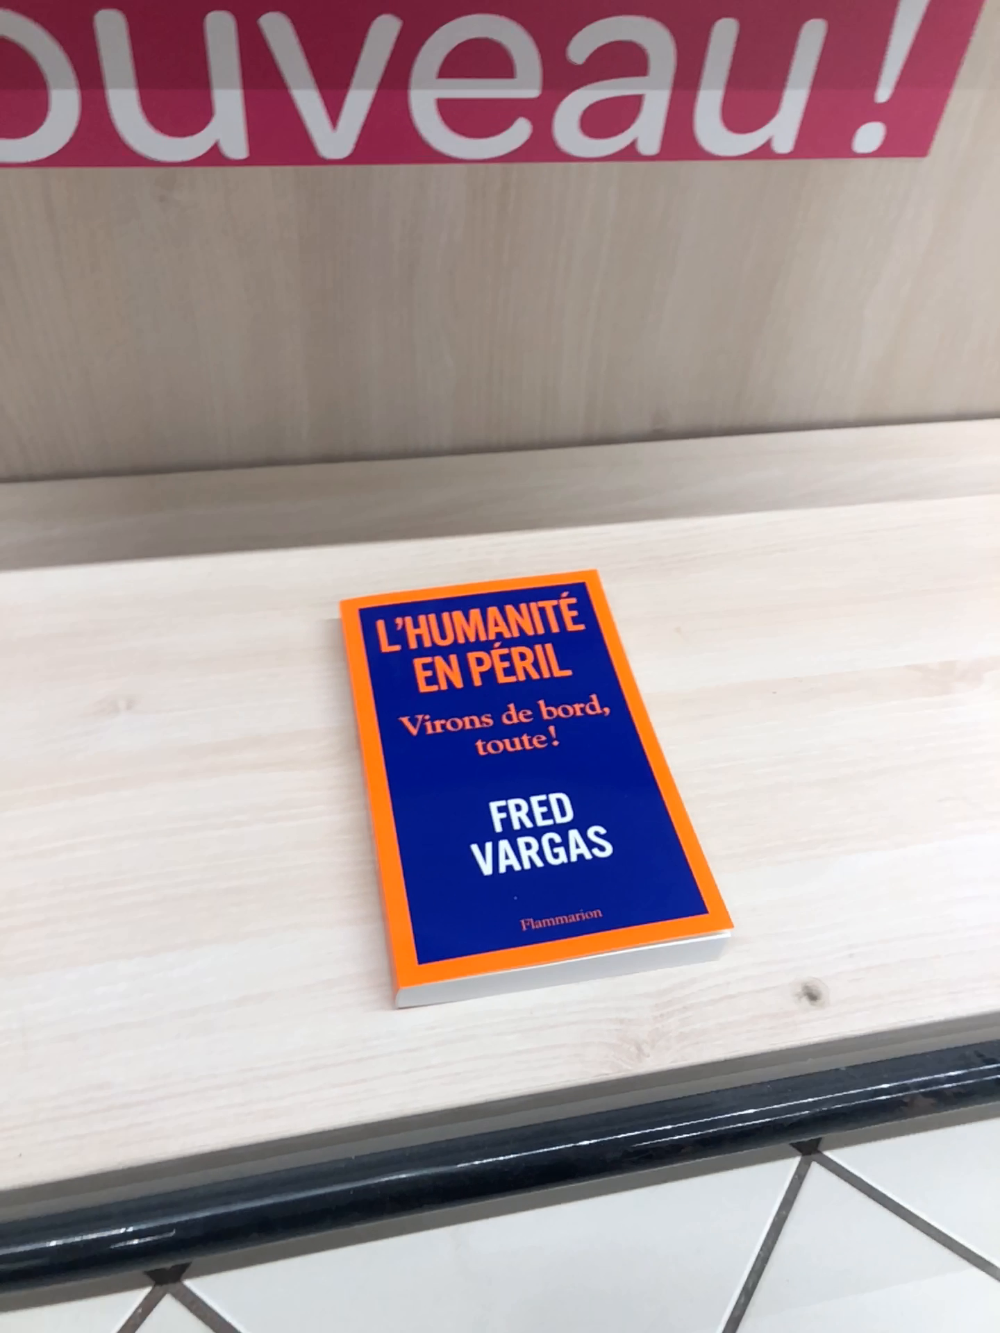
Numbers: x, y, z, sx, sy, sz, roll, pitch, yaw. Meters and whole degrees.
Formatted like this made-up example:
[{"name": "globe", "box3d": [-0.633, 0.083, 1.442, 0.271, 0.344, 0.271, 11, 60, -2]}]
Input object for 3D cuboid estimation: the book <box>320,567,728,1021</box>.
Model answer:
[{"name": "book", "box3d": [0.000, 0.043, 0.494, 0.137, 0.030, 0.208, -6, 49, -12]}]
